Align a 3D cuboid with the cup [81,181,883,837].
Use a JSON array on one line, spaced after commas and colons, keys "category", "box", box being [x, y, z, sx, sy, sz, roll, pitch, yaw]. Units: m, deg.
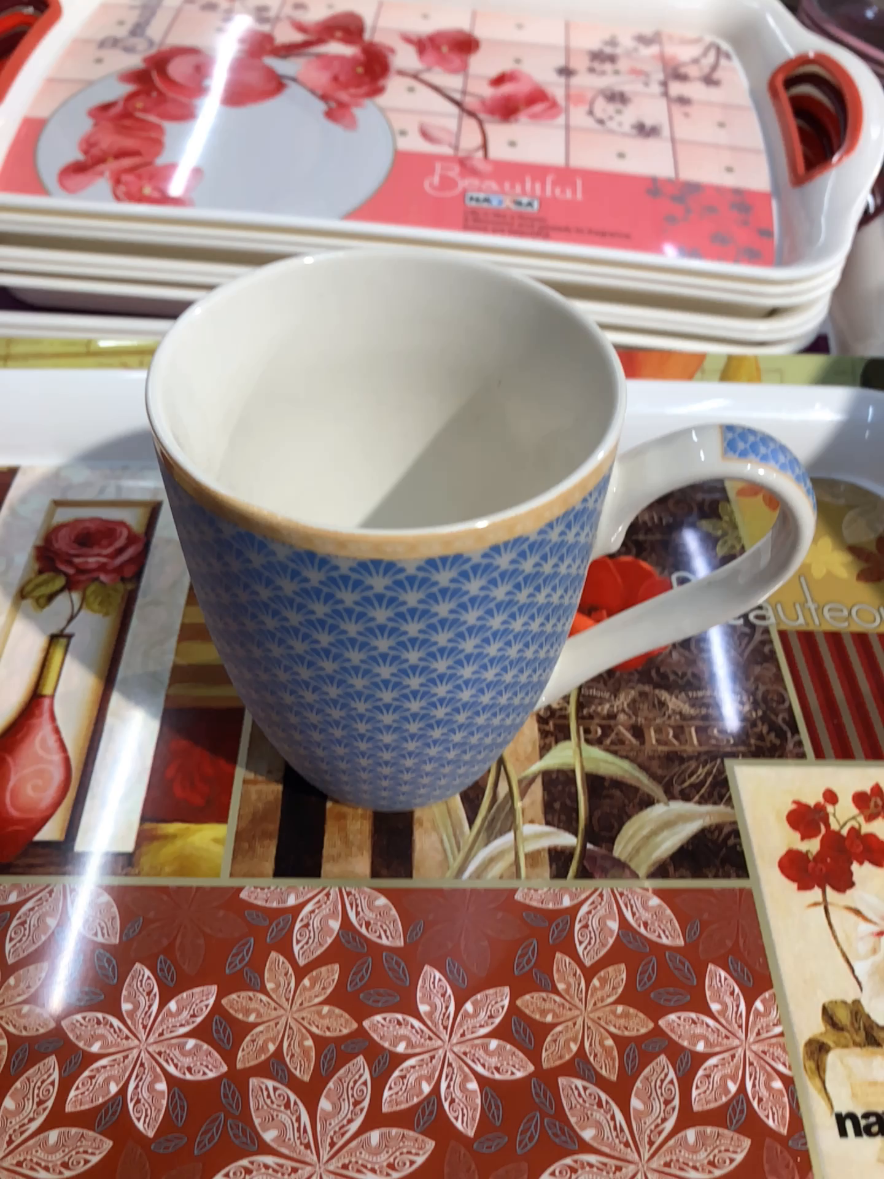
[{"category": "cup", "box": [0.008, -0.013, 0.198, 0.120, 0.099, 0.081, 1, 45, -4]}]
